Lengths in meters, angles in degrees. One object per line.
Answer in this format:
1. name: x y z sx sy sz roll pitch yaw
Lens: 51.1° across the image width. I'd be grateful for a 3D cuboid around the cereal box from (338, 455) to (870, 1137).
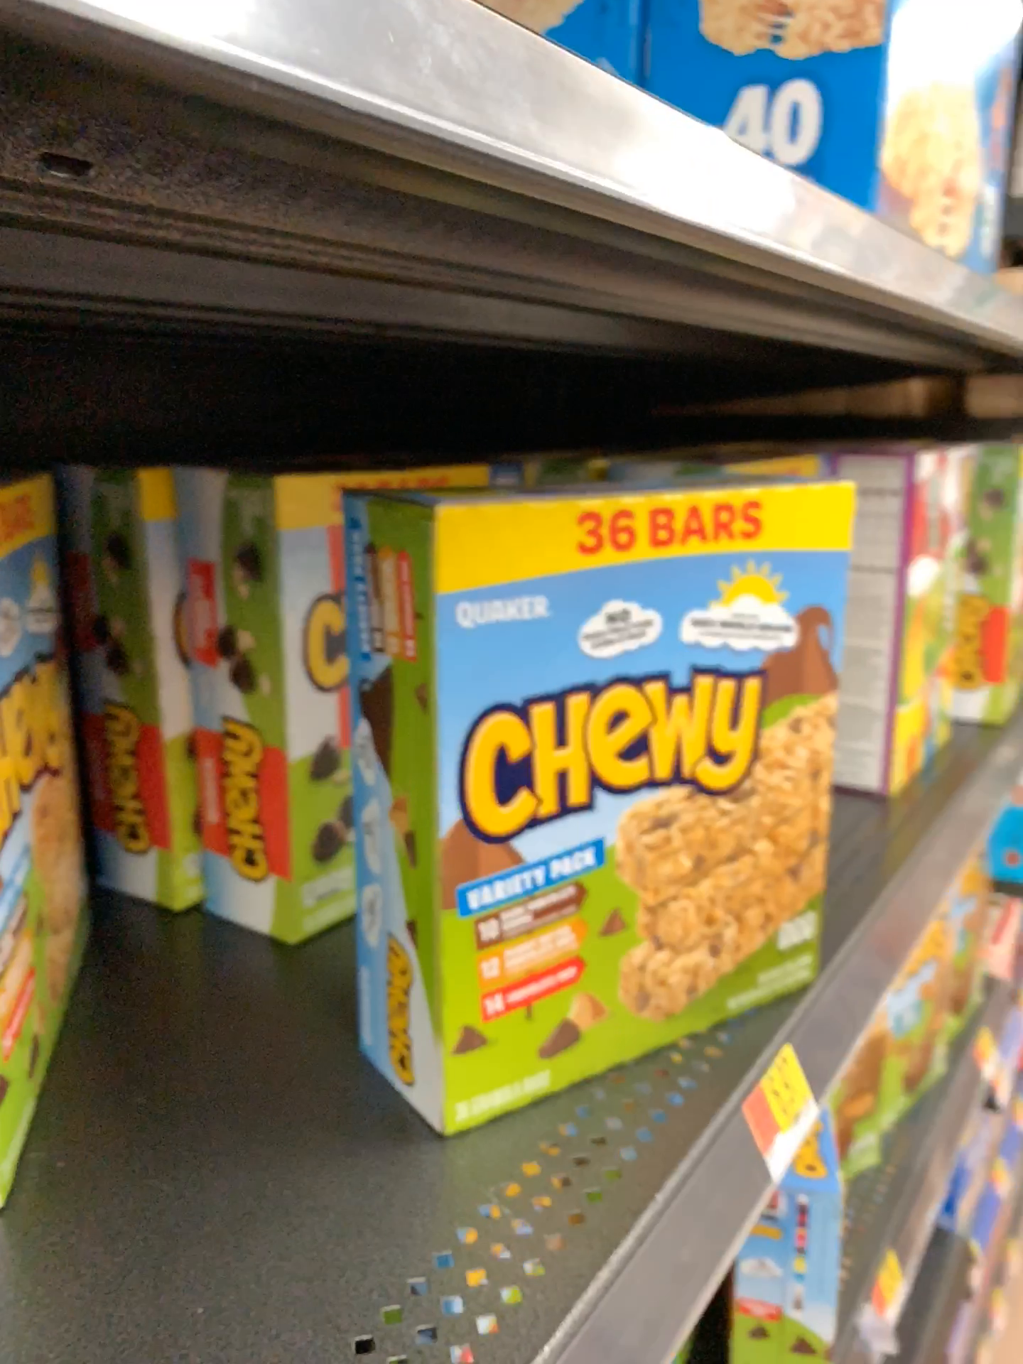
1. cereal box: 0.041 0.028 0.431 0.200 0.229 0.070 -8 16 -32
